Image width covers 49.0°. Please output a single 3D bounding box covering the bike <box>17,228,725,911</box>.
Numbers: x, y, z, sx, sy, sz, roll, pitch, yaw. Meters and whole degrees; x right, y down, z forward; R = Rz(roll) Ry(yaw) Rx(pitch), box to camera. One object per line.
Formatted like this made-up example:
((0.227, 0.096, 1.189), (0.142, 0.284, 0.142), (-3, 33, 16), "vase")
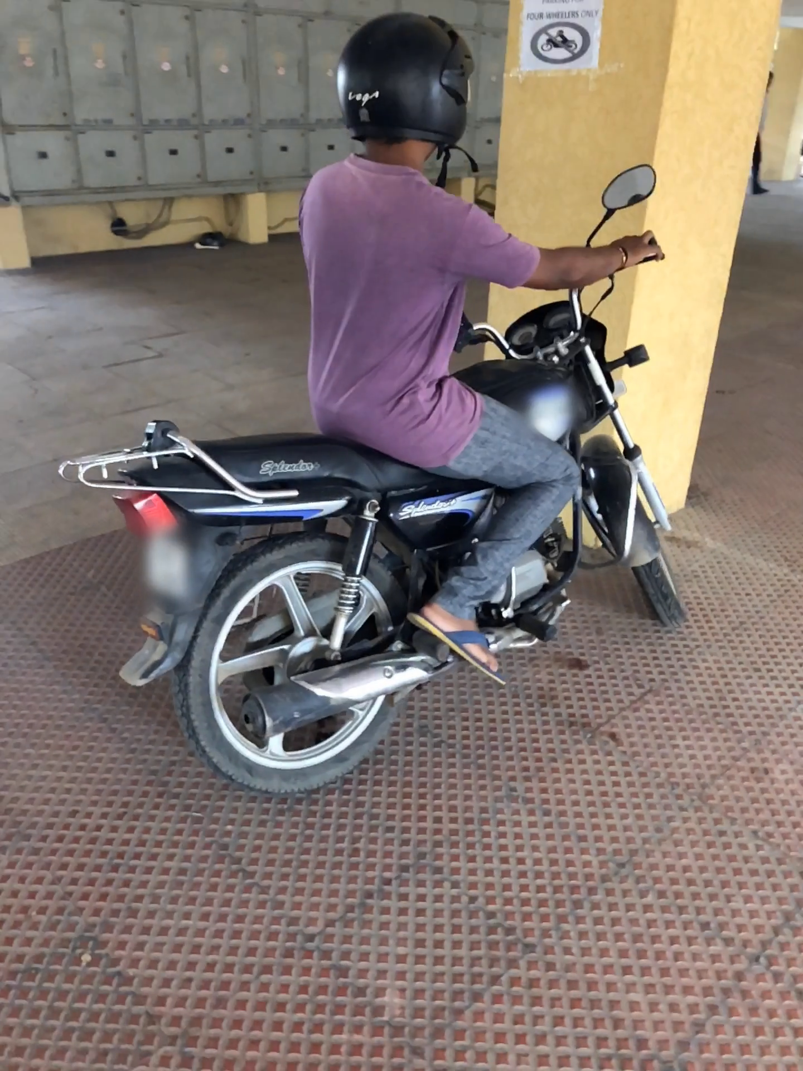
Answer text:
((0.009, -0.101, 2.296), (1.547, 1.194, 0.768), (-20, 34, -39), "bike")
